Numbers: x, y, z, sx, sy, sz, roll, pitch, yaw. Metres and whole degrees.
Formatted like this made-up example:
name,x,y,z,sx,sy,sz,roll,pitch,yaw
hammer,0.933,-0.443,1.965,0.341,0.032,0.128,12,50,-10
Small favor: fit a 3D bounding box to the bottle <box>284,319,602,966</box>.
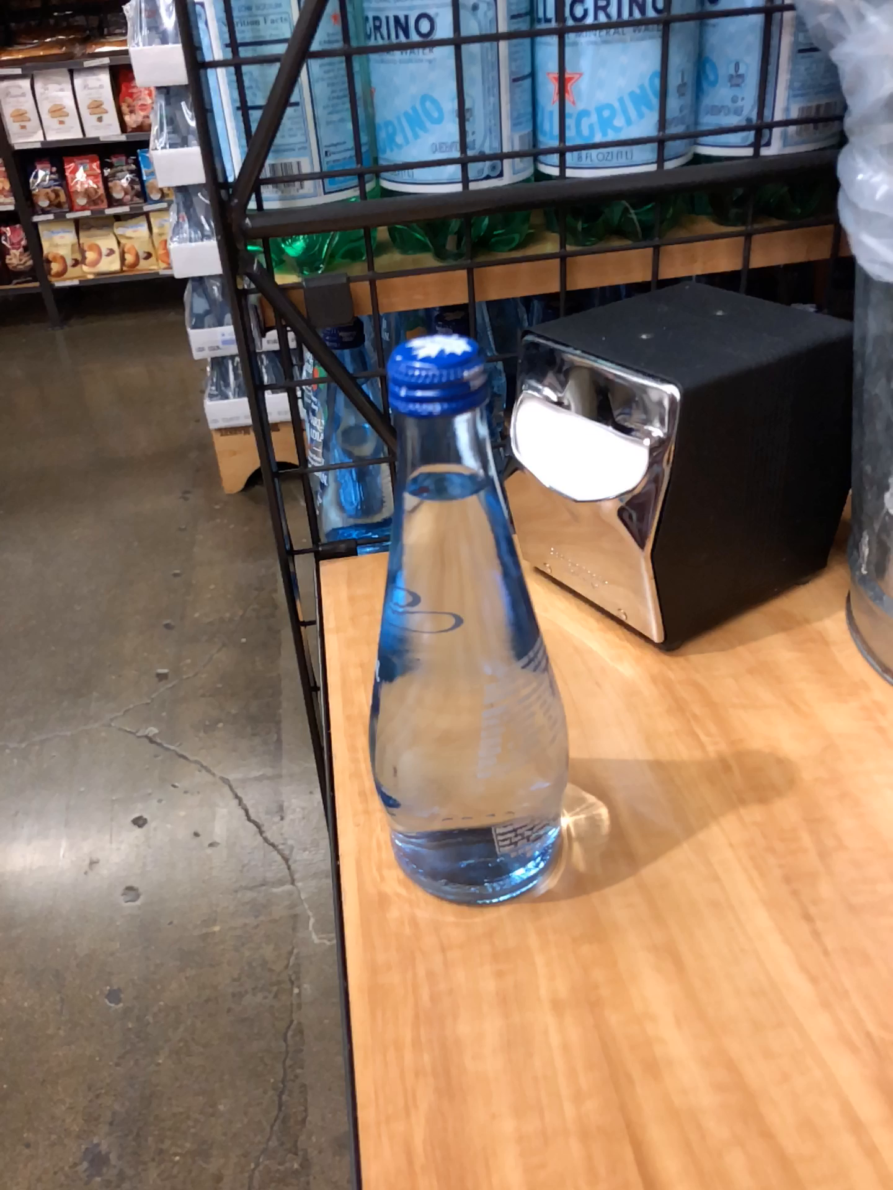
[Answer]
name,x,y,z,sx,sy,sz,roll,pitch,yaw
bottle,0.006,0.020,0.307,0.060,0.189,0.060,-3,32,2
